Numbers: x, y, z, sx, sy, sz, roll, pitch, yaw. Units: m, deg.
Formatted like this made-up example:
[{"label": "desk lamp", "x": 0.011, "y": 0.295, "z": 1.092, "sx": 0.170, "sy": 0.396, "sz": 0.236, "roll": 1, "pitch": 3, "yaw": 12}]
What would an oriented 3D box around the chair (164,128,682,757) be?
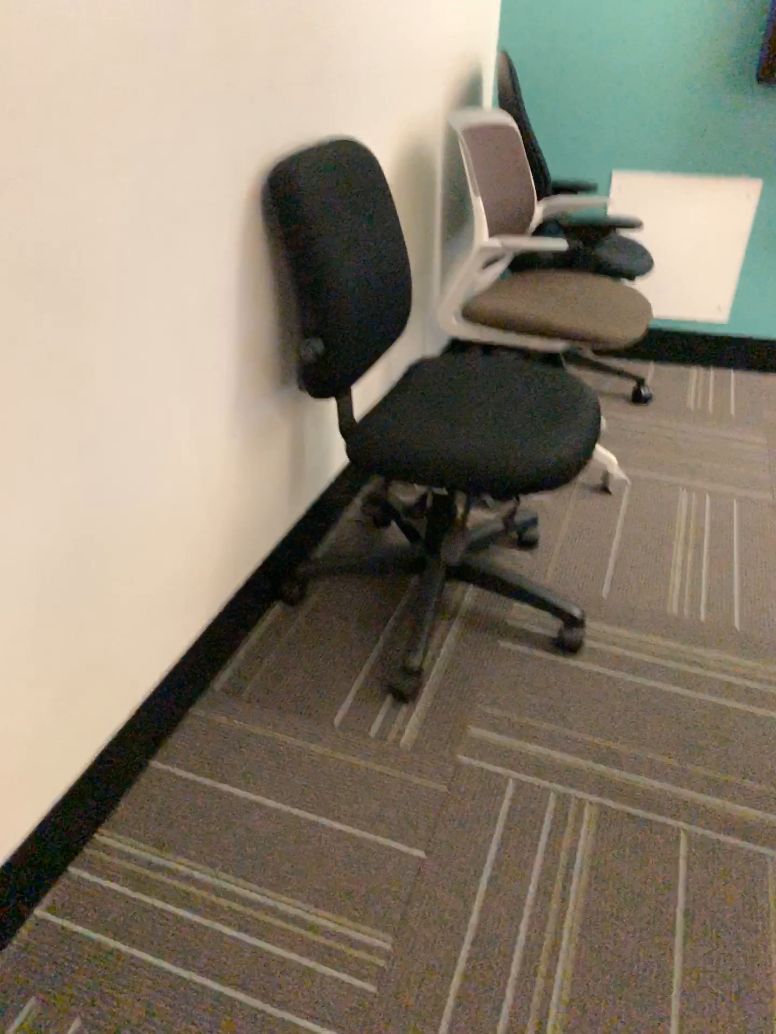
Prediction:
[{"label": "chair", "x": 0.107, "y": -0.196, "z": 1.648, "sx": 0.741, "sy": 0.994, "sz": 0.684, "roll": 12, "pitch": 34, "yaw": 15}]
